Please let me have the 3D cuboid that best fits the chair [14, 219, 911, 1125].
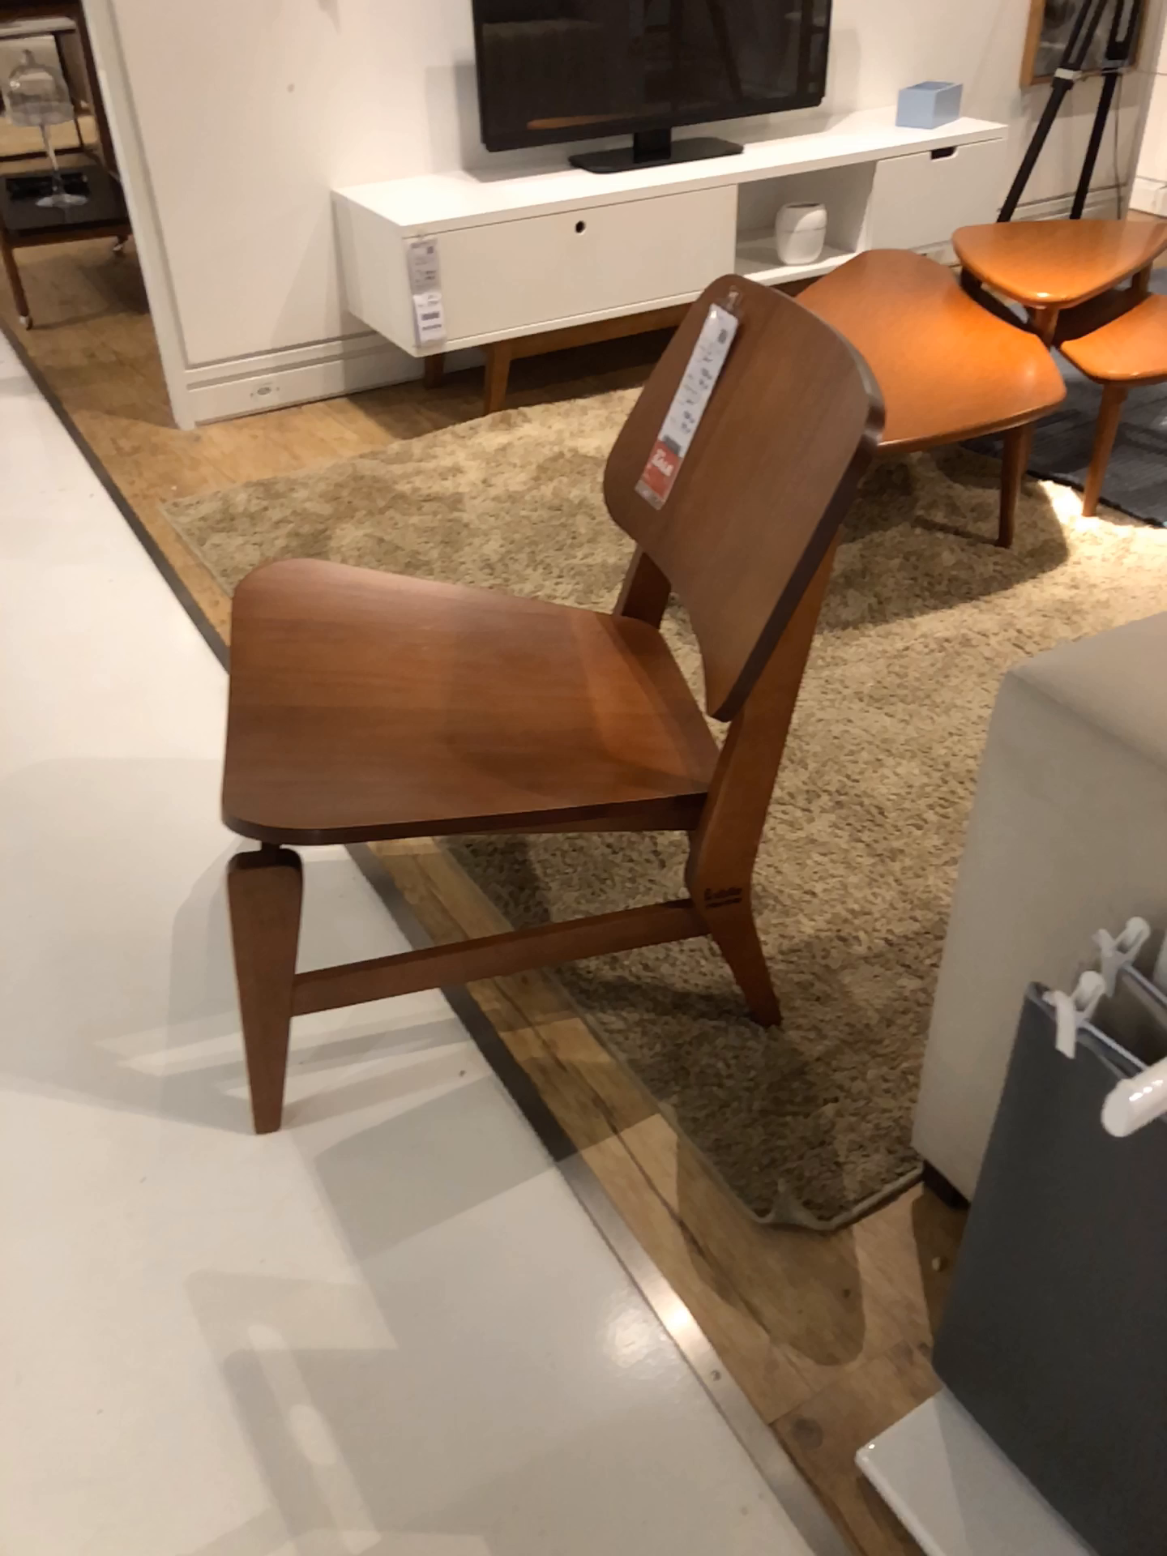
[{"bbox_3d":[-0.111,-0.137,1.320,0.630,0.655,0.585,-7,37,-7],"label":"chair"}]
